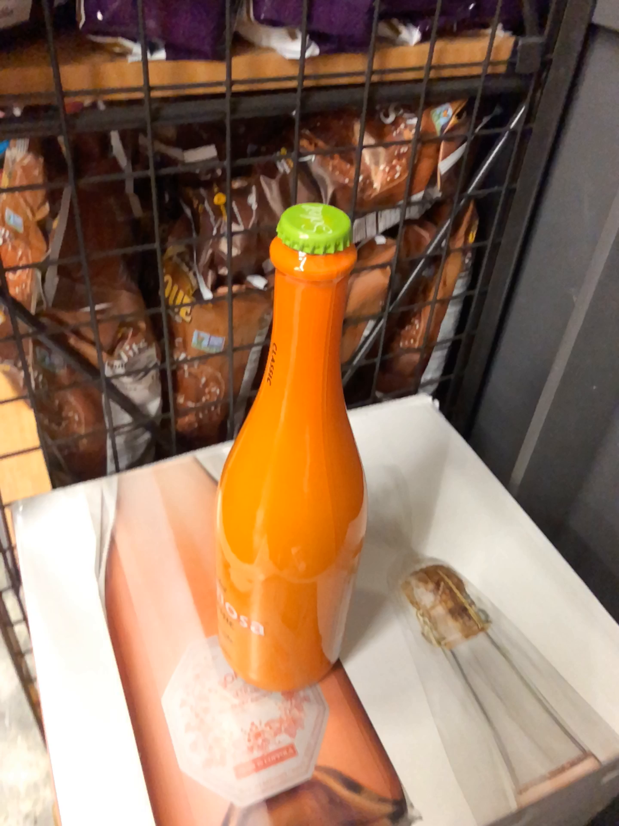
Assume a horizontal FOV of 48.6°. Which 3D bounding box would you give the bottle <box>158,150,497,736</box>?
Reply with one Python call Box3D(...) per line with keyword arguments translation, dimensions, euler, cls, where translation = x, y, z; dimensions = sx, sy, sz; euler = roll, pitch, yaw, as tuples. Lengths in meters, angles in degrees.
Box3D(translation=(-0.007, 0.032, 0.335), dimensions=(0.090, 0.279, 0.090), euler=(3, 40, -3), cls="bottle")
